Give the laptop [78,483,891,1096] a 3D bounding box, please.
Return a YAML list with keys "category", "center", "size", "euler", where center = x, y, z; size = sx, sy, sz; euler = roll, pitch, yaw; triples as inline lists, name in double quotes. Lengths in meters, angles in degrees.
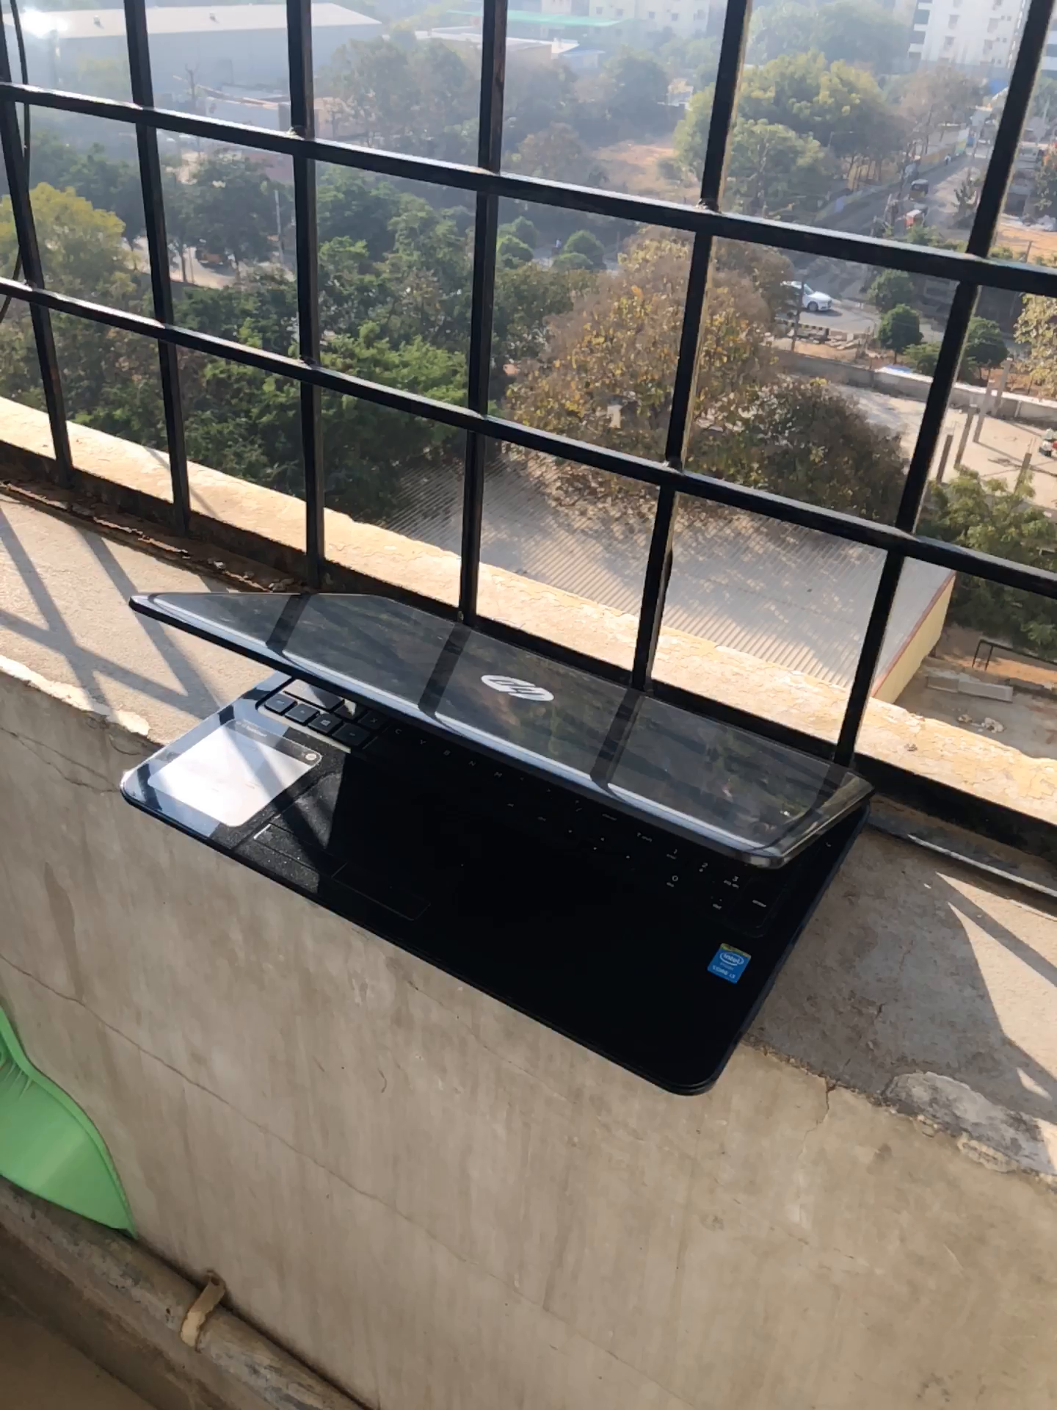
- category: "laptop"
  center: [-0.020, 0.011, 0.648]
  size: [0.364, 0.113, 0.245]
  euler: [21, 36, 23]
